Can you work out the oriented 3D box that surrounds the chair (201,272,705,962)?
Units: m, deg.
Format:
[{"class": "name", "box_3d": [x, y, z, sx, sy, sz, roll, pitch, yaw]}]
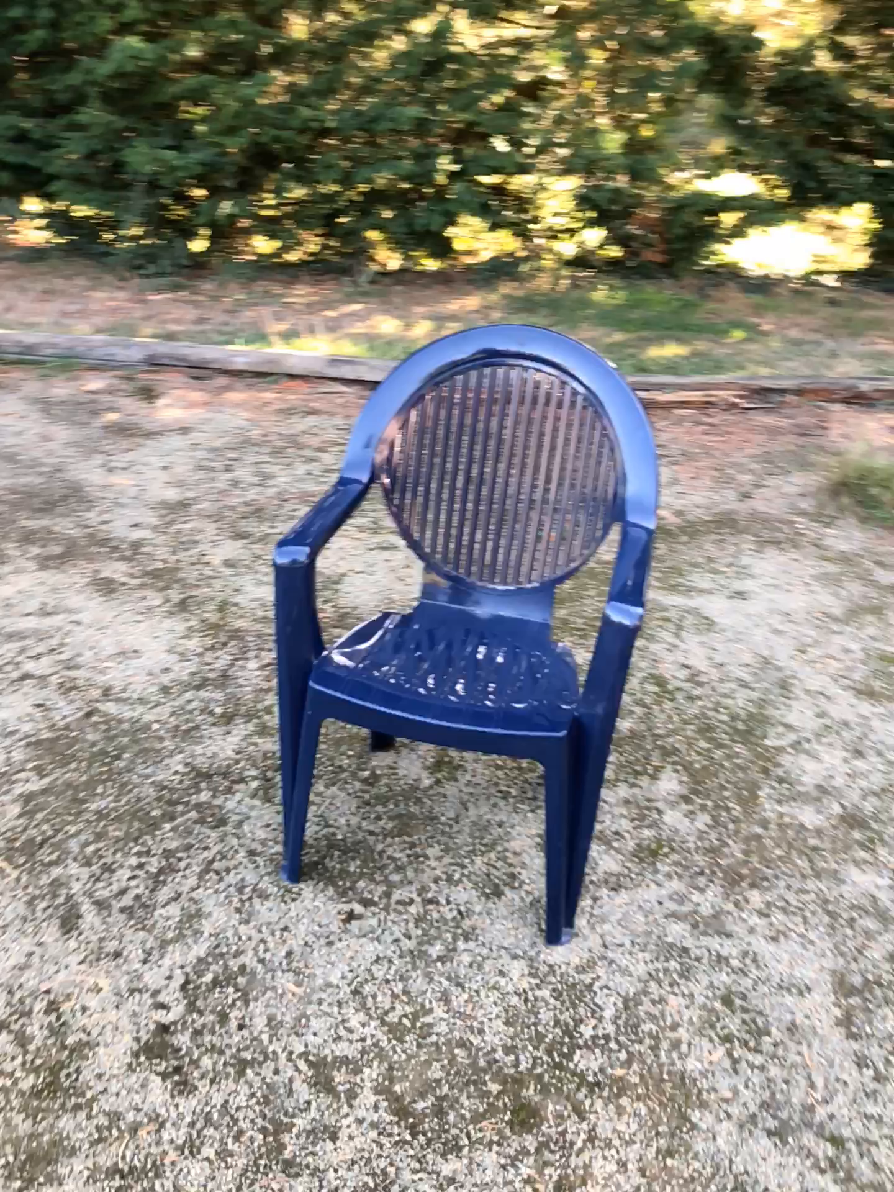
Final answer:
[{"class": "chair", "box_3d": [0.031, 0.006, 1.564, 0.590, 0.855, 0.574, 9, 30, 9]}]
